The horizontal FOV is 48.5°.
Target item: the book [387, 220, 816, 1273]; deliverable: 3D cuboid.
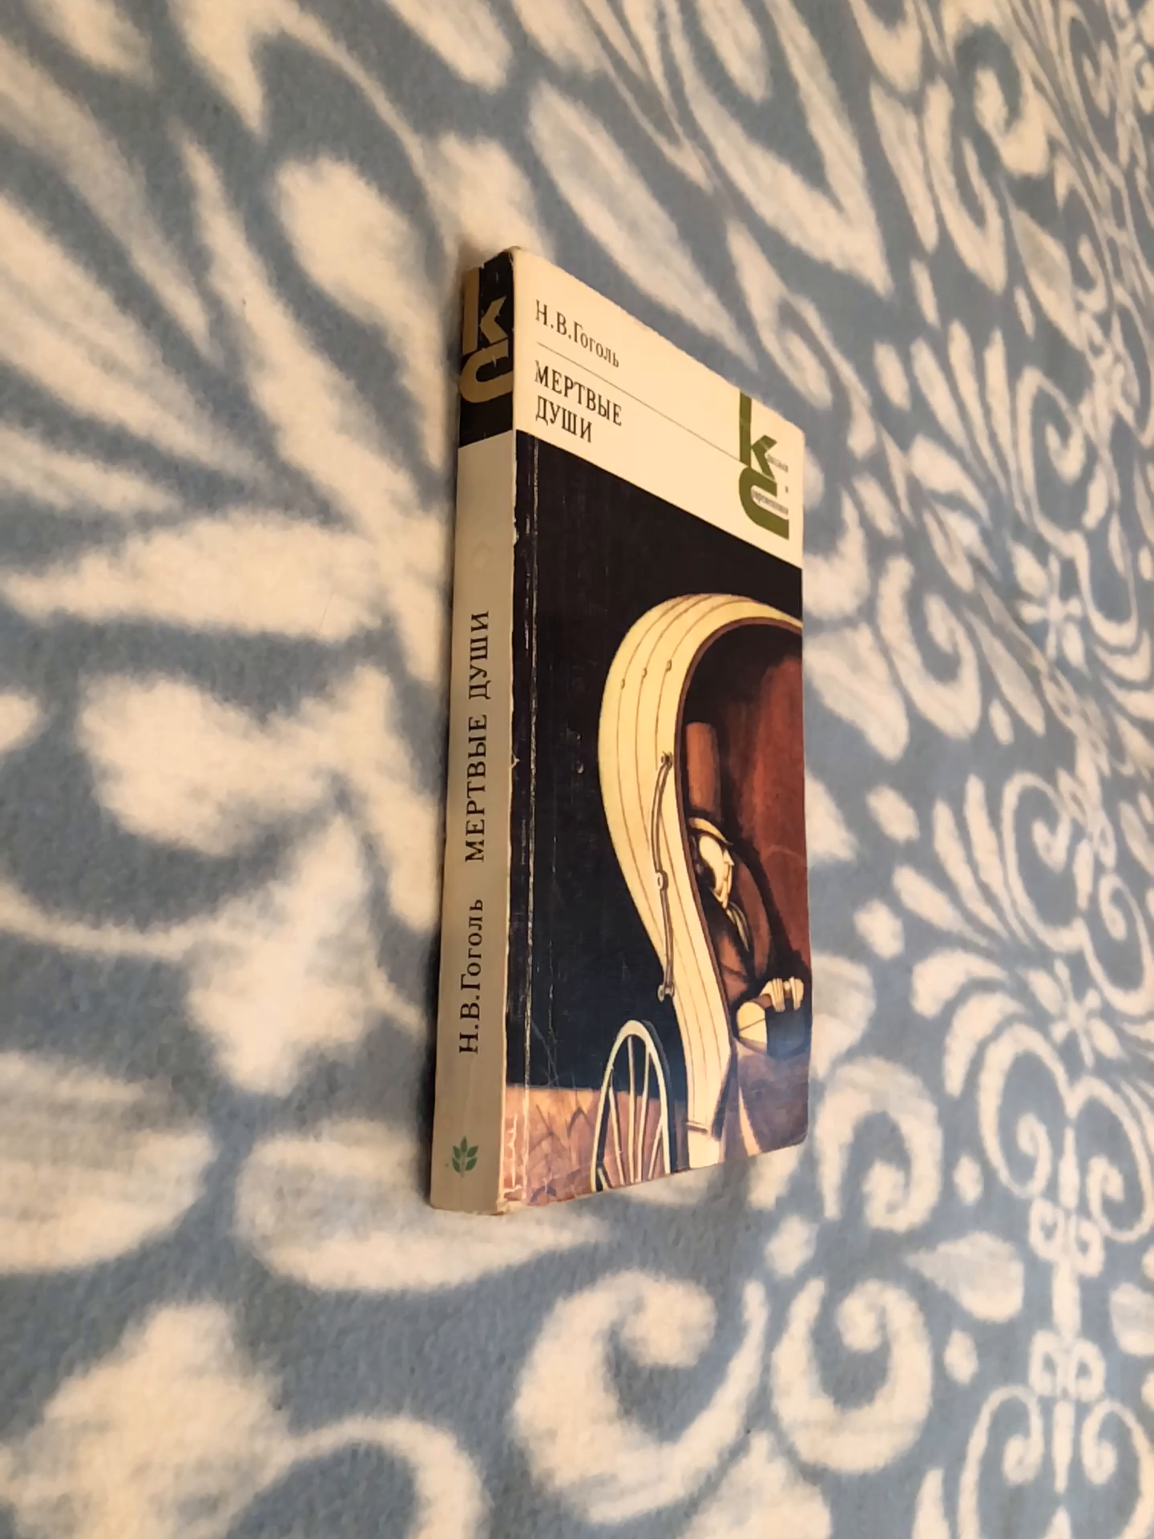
[{"bbox_3d":[0.014,-0.002,0.296,0.126,0.024,0.199,11,77,-52],"label":"book"}]
